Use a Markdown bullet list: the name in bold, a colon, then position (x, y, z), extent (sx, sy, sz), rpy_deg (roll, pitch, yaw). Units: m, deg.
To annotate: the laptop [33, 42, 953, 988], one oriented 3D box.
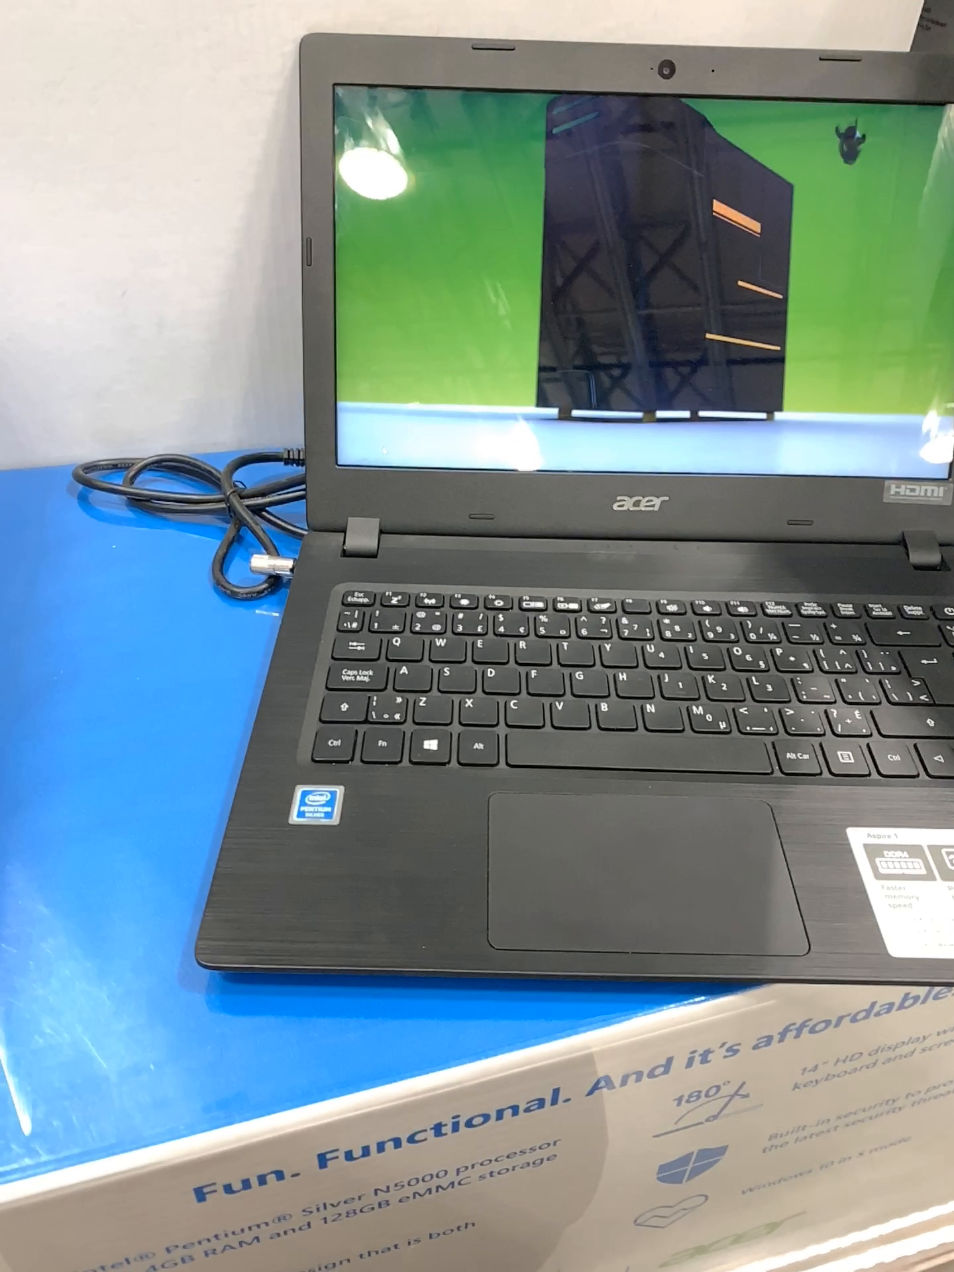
- **laptop**: position (0.079, -0.075, 0.359), extent (0.318, 0.186, 0.329), rpy_deg (2, 40, 0)
